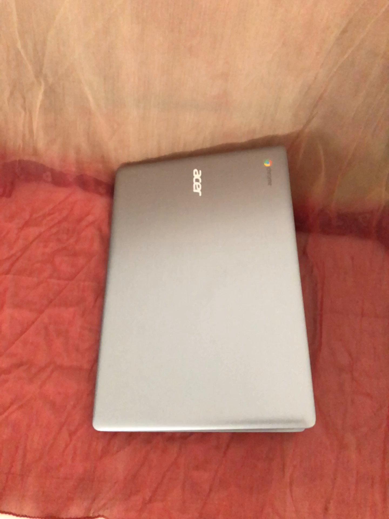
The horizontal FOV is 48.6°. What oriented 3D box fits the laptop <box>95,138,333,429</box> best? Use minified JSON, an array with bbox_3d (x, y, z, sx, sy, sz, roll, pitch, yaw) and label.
[{"bbox_3d":[0.017,0.015,0.490,0.219,0.066,0.323,1,66,-1],"label":"laptop"}]
